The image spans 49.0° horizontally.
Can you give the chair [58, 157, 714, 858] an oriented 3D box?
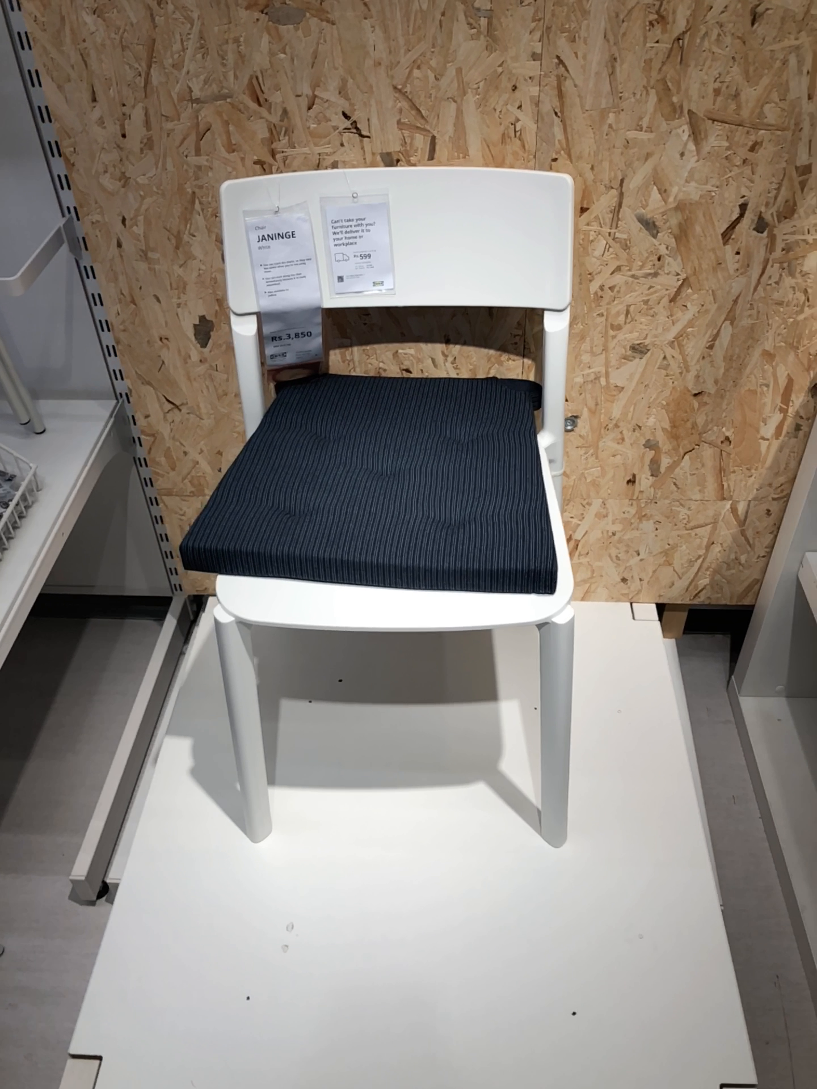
[{"bbox_3d":[-0.002,-0.024,1.068,0.490,0.685,0.463,0,42,3],"label":"chair"}]
